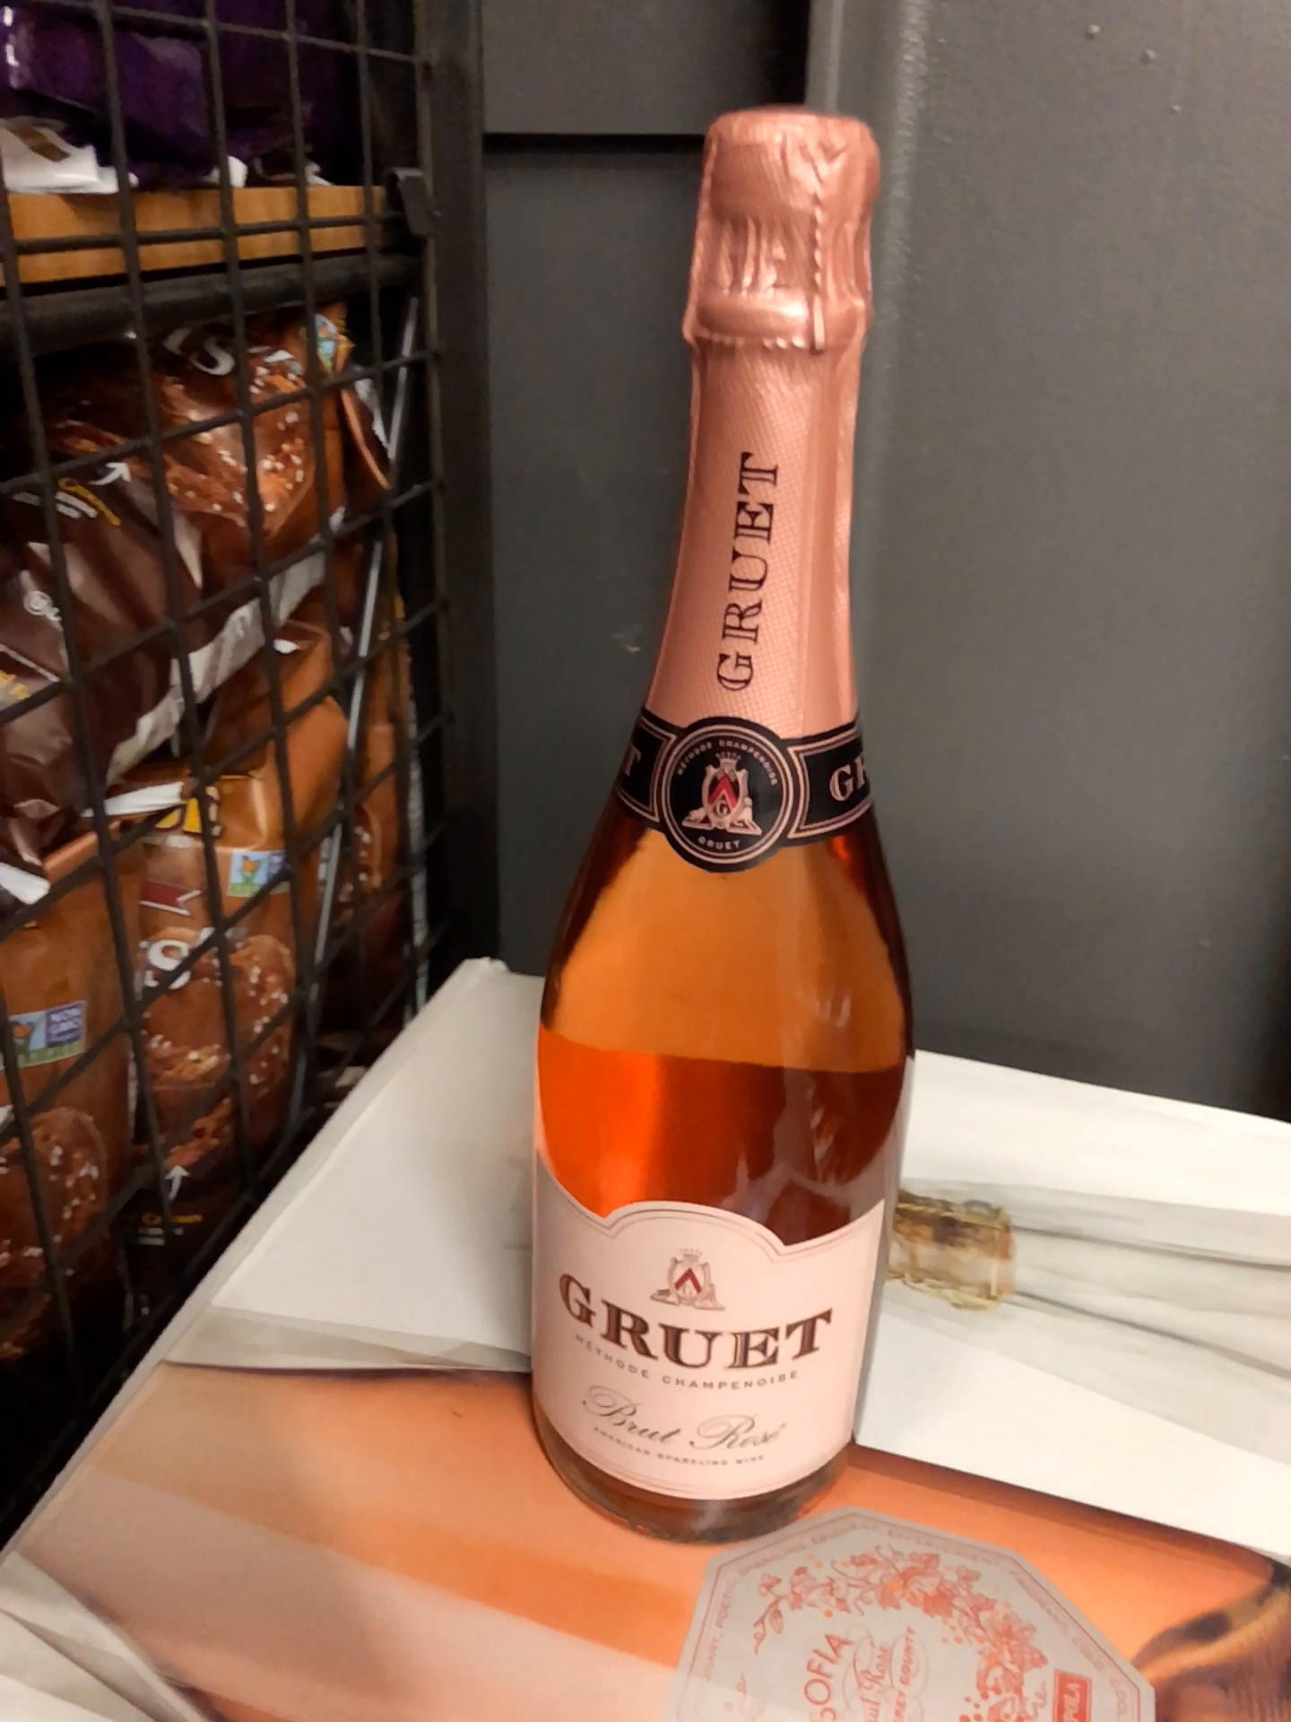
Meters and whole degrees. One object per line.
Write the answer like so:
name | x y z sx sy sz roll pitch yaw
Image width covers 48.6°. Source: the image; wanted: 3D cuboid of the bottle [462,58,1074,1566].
bottle | 0.020 0.004 0.317 0.090 0.311 0.090 1 25 0
